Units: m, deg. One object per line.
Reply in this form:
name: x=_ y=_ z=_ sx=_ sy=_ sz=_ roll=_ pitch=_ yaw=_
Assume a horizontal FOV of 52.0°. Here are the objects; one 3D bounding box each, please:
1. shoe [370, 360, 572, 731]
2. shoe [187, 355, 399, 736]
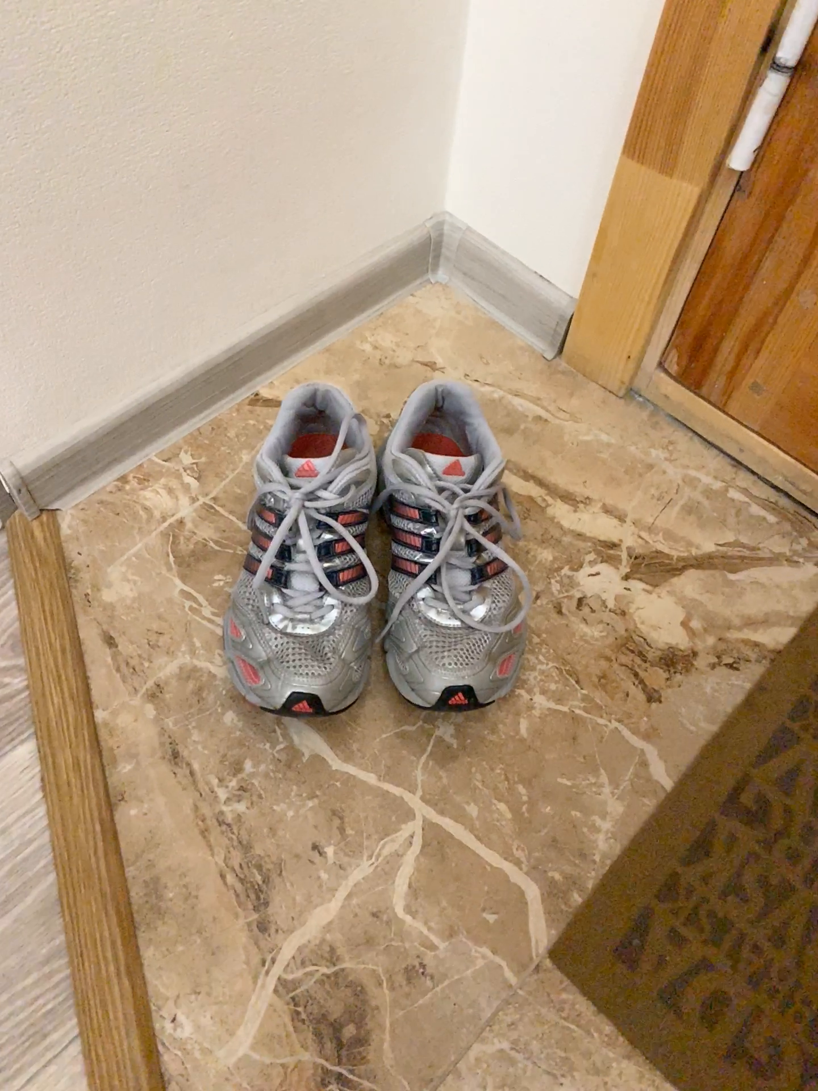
shoe: x=0.032 y=-0.006 z=0.572 sx=0.110 sy=0.090 sz=0.241 roll=2 pitch=56 yaw=-4
shoe: x=-0.067 y=-0.006 z=0.560 sx=0.110 sy=0.090 sz=0.241 roll=3 pitch=56 yaw=-3
